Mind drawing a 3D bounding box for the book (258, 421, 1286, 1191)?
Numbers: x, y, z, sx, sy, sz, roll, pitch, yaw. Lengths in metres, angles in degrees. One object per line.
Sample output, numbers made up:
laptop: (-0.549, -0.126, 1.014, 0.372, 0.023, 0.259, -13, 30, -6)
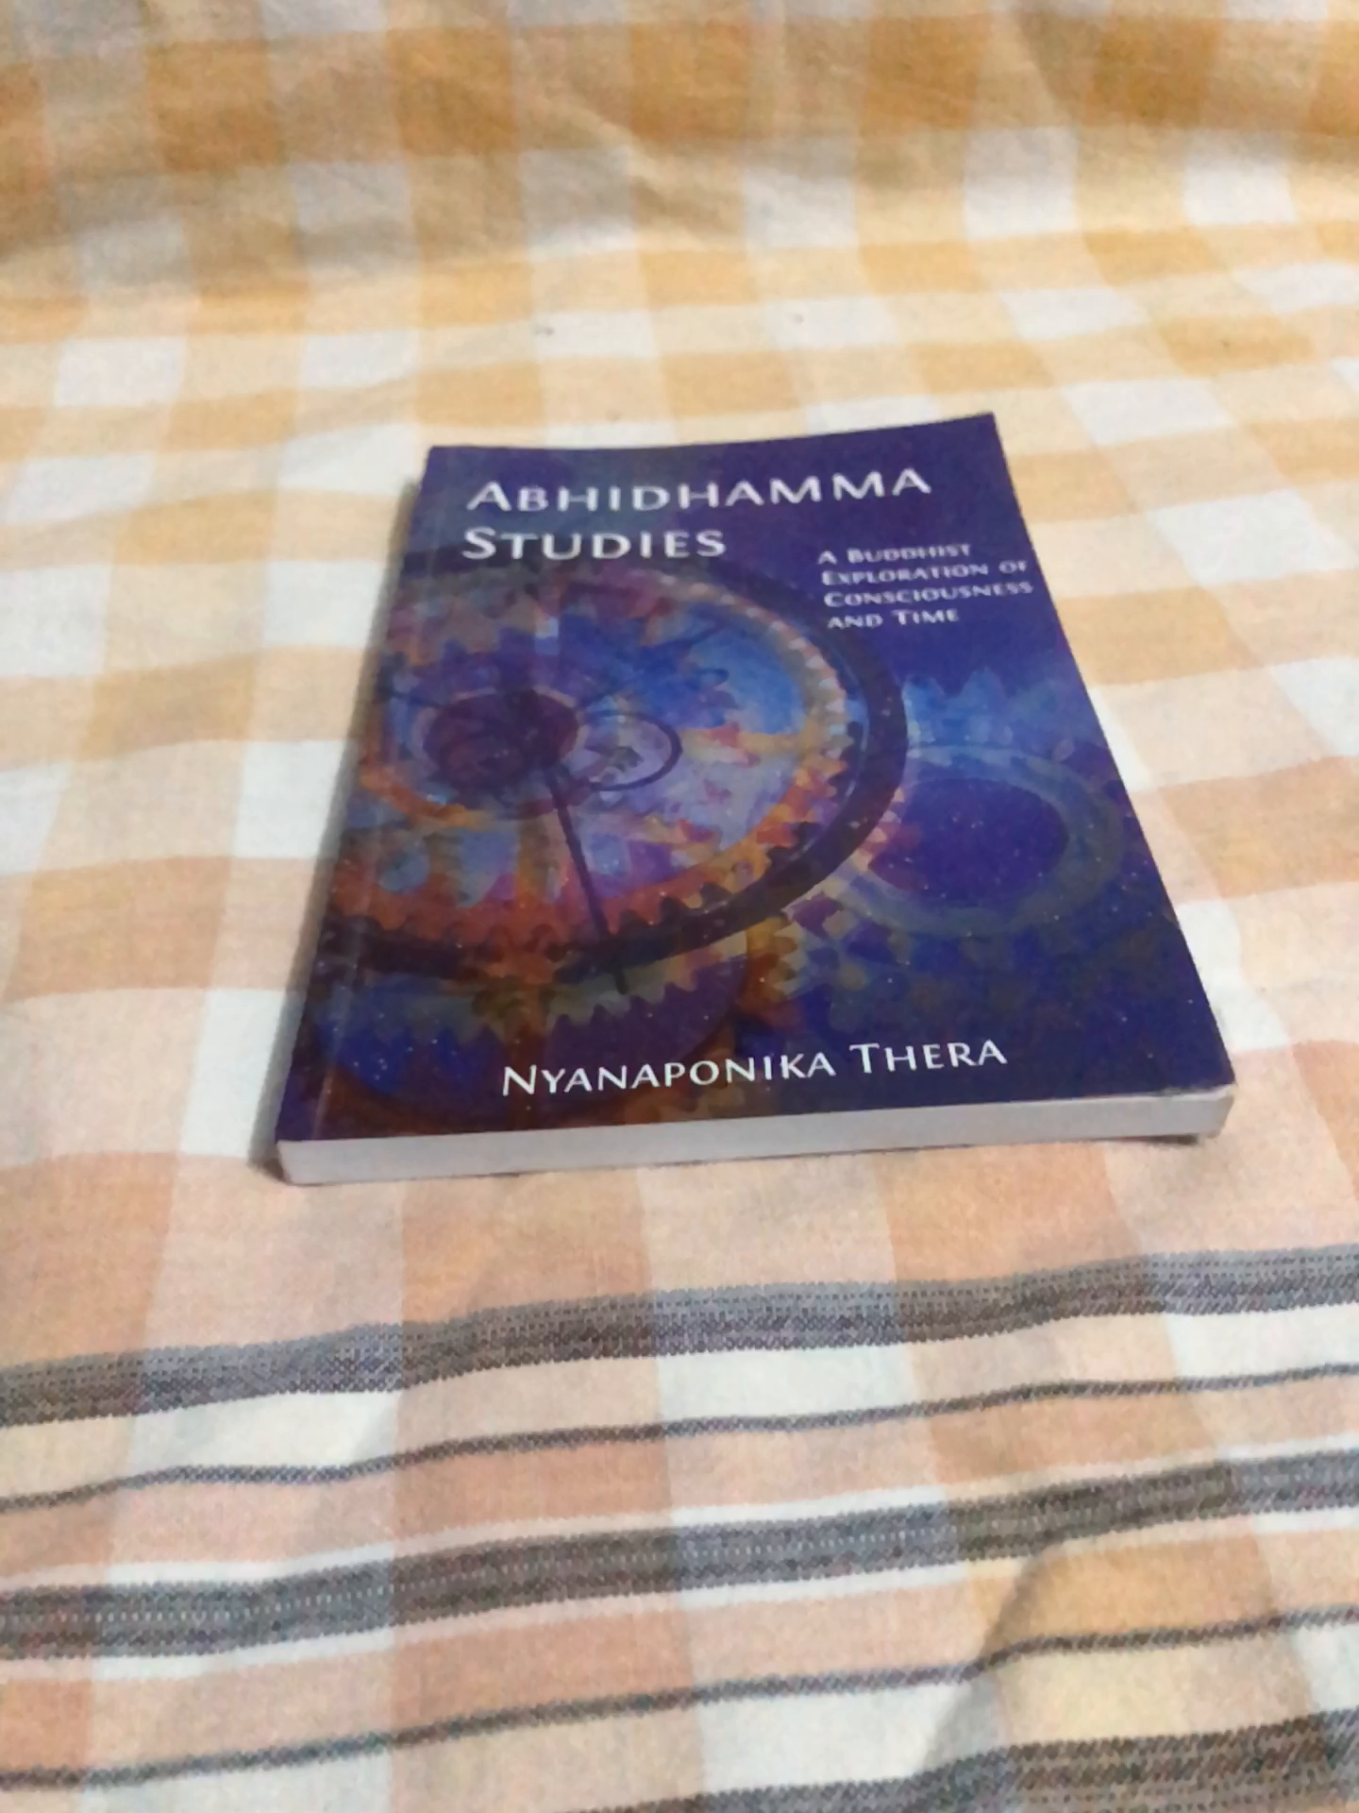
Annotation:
book: (0.012, -0.038, 0.304, 0.150, 0.020, 0.211, -1, 44, 0)
